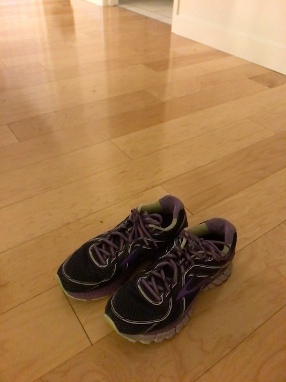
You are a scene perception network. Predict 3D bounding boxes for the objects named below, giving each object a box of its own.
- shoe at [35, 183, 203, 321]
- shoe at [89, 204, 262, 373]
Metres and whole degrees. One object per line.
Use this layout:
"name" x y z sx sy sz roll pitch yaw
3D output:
"shoe" -0.033 0.091 0.550 0.271 0.069 0.110 -26 47 -30
"shoe" 0.061 0.138 0.511 0.271 0.069 0.120 -29 49 -32
